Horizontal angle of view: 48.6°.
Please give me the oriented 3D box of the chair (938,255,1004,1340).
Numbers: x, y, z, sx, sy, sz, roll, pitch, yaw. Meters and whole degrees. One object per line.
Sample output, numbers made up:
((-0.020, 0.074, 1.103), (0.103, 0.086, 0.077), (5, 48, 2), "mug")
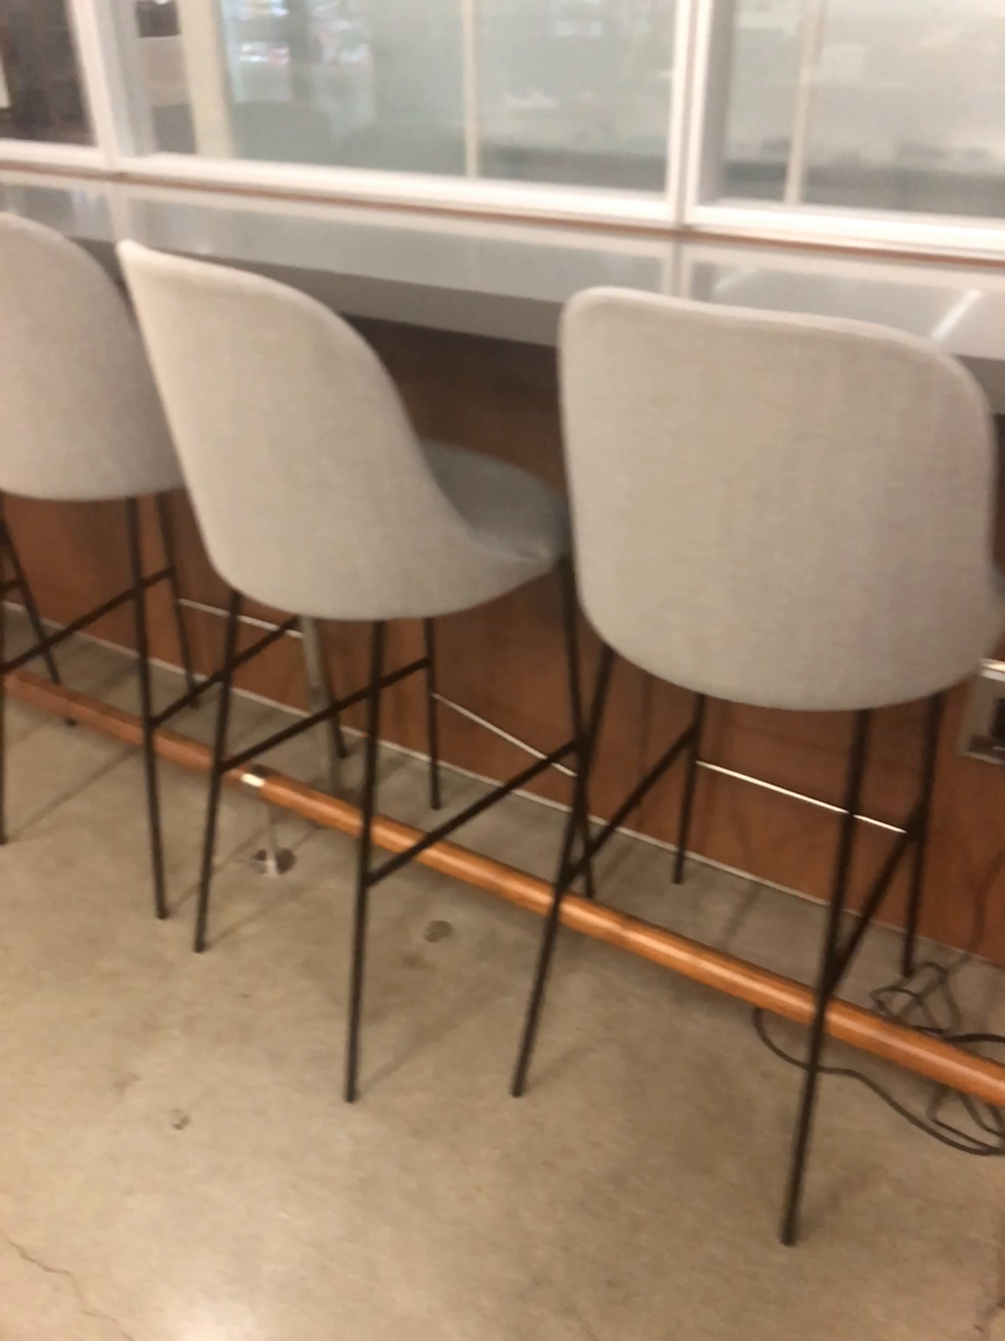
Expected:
((0.875, 0.280, 1.116), (0.490, 1.180, 0.595), (18, 36, 29), "chair")

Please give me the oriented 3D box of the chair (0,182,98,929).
((-1.584, -0.265, 2.585), (0.710, 1.487, 0.625), (14, 34, 24), "chair")
